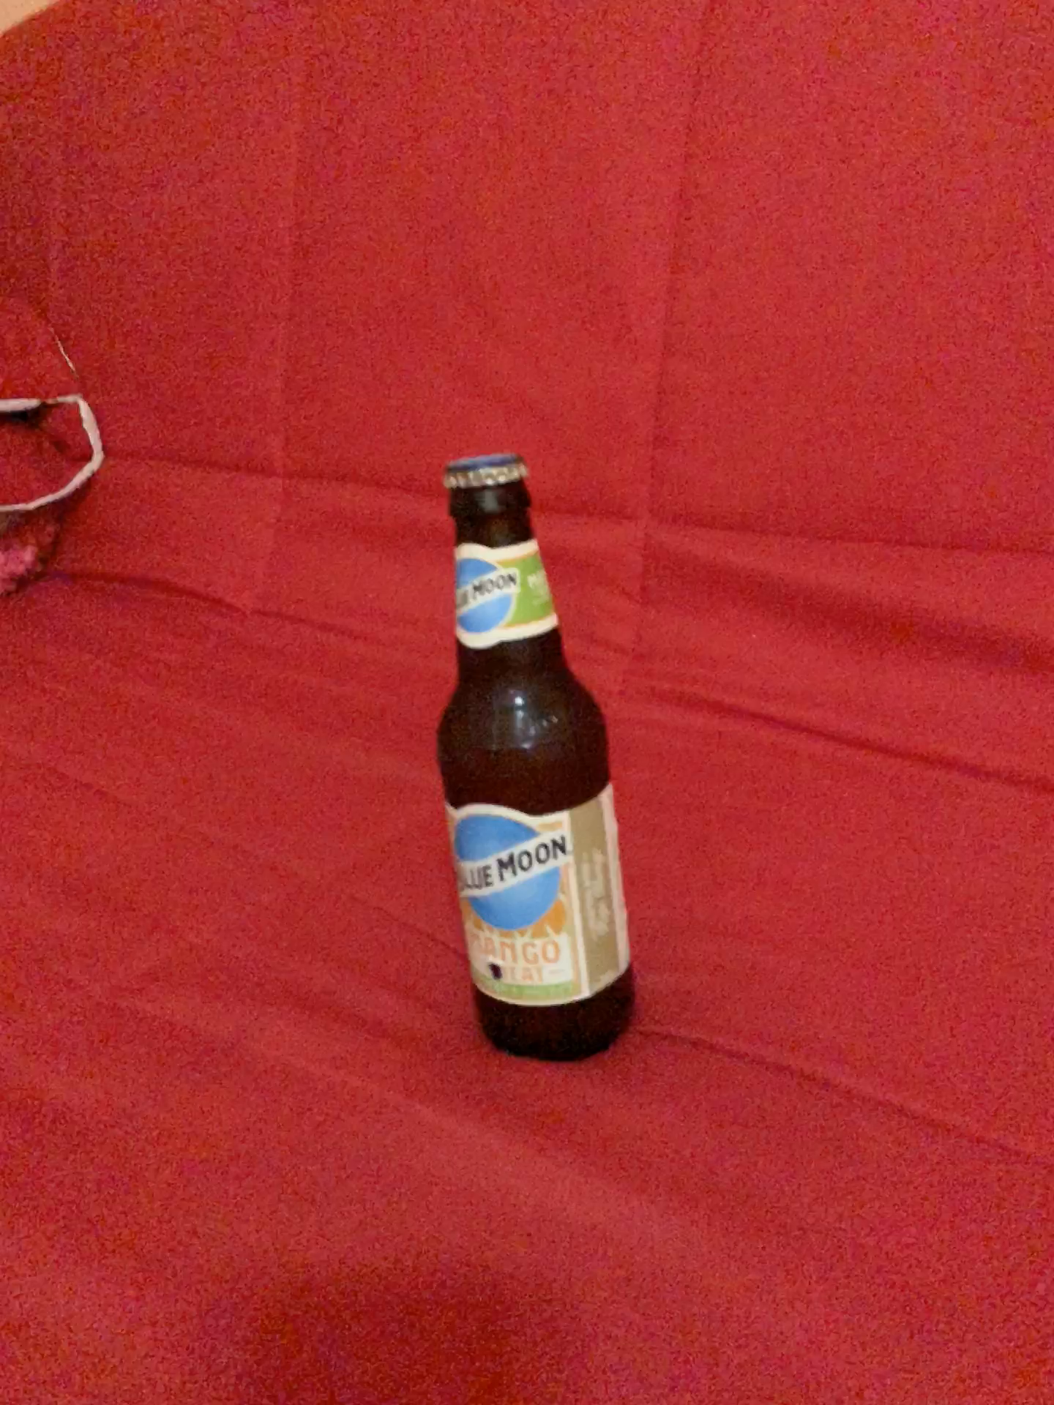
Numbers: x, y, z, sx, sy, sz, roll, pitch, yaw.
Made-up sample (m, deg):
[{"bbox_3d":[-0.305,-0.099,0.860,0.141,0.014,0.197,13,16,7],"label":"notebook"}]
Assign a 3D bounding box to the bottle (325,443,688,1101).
[{"bbox_3d":[0.000,0.024,0.384,0.070,0.216,0.069,-8,20,3],"label":"bottle"}]
